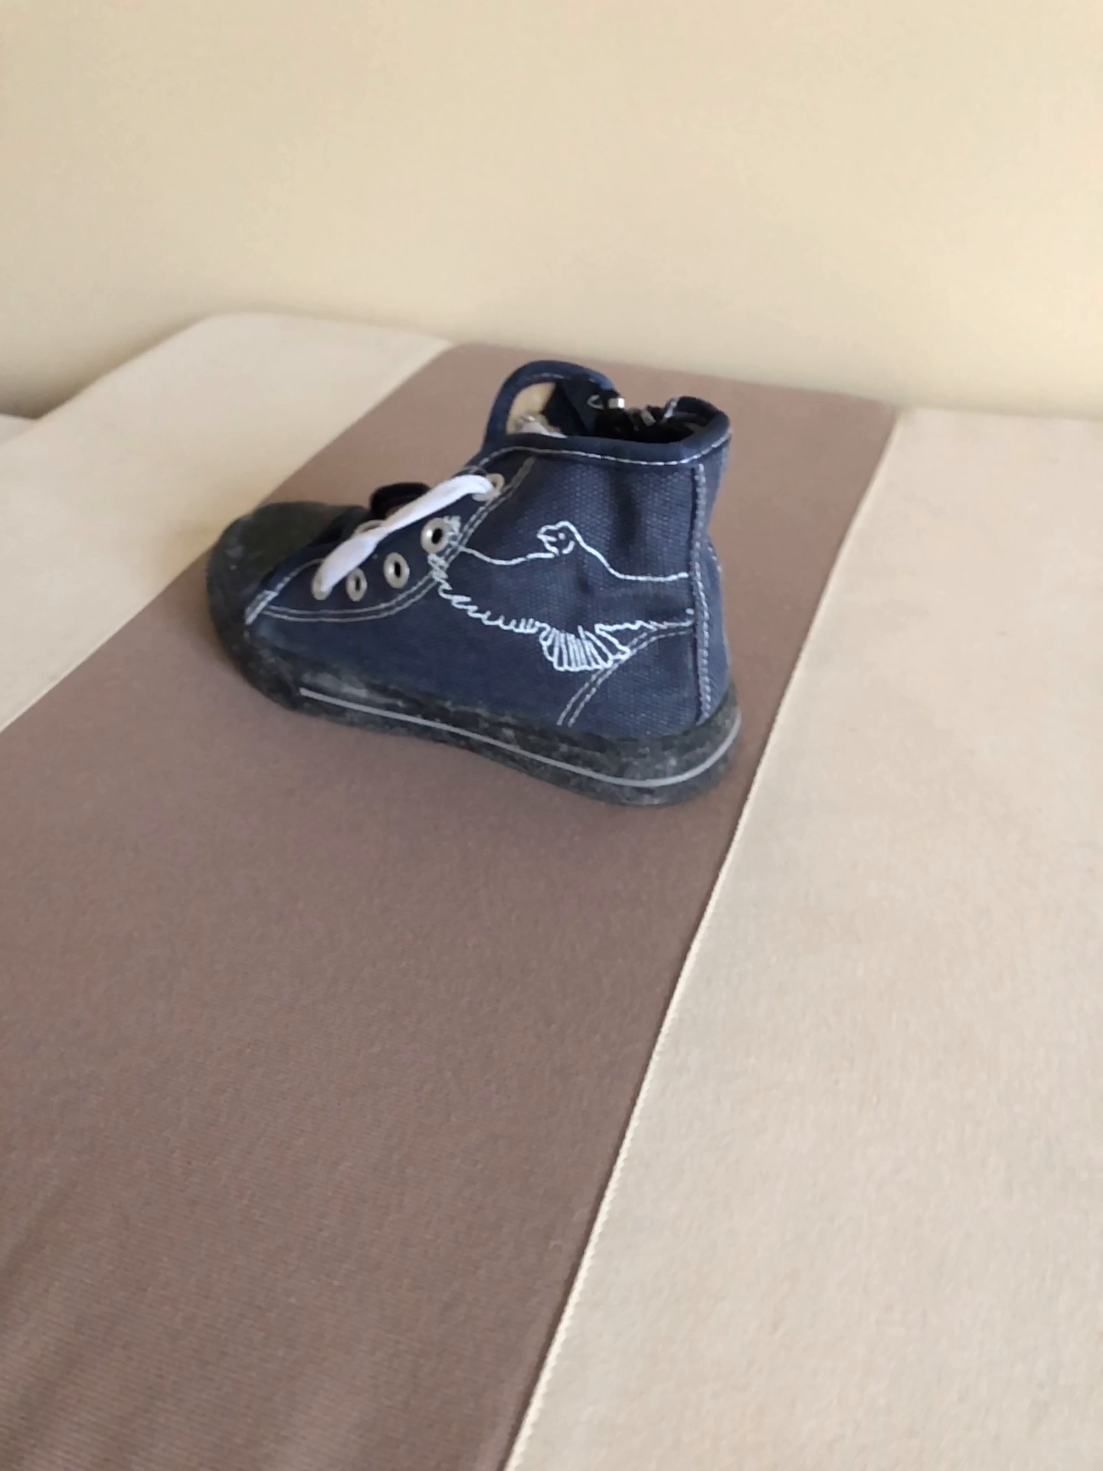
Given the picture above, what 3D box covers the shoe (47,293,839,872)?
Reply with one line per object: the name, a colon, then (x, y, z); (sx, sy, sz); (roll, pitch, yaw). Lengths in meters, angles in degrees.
shoe: (-0.031, -0.055, 0.368); (0.200, 0.099, 0.091); (17, 42, 22)
